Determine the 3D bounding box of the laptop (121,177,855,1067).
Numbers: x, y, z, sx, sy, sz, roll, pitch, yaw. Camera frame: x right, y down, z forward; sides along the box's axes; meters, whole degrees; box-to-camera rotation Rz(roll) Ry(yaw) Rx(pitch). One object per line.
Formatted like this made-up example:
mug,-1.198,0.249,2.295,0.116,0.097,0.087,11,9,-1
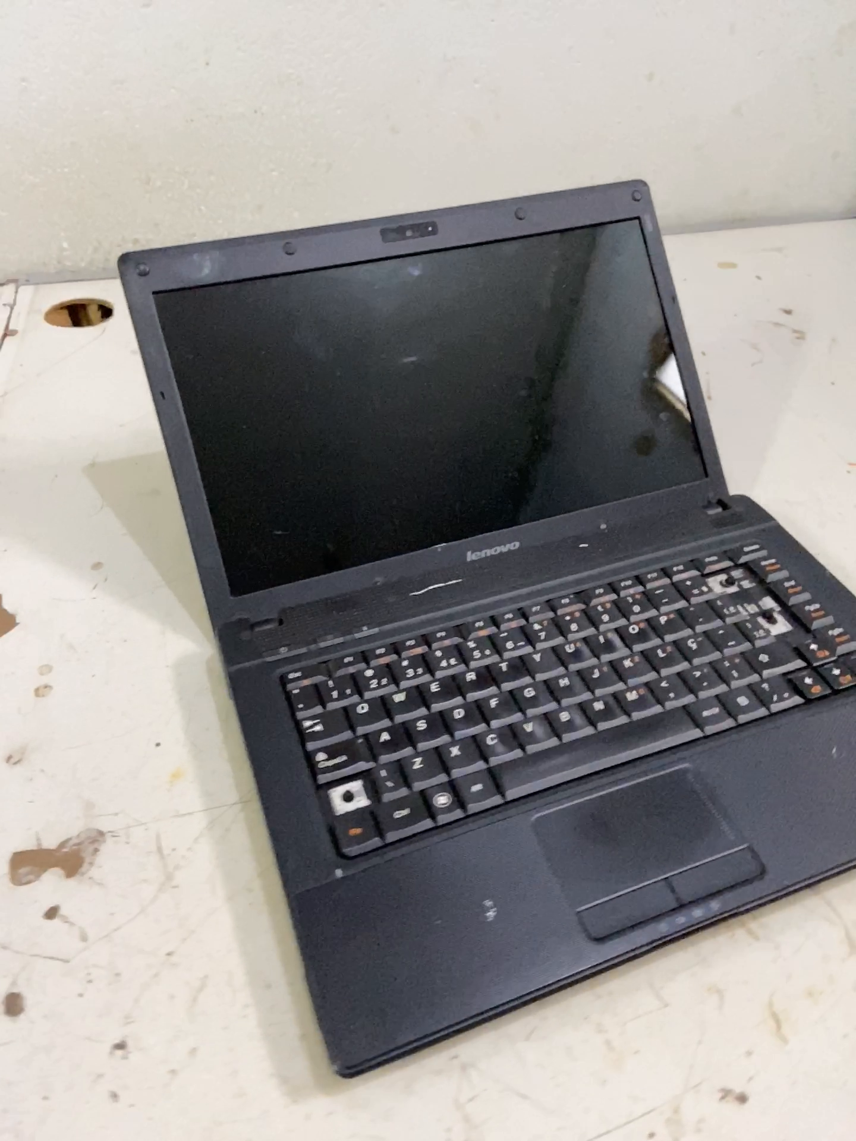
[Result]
laptop,0.059,-0.046,0.472,0.358,0.147,0.424,-14,44,-16
